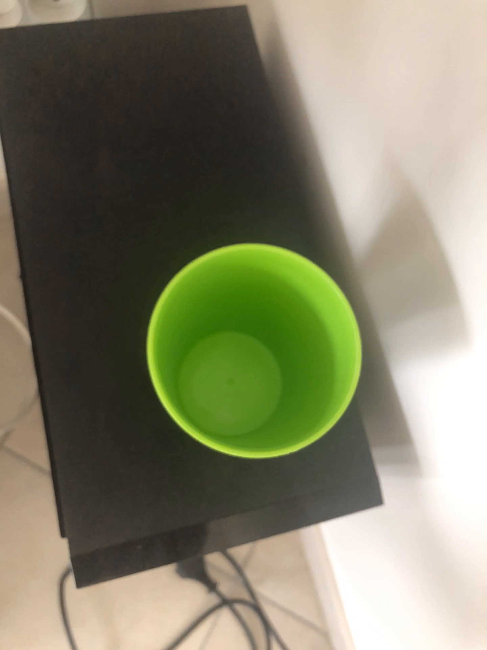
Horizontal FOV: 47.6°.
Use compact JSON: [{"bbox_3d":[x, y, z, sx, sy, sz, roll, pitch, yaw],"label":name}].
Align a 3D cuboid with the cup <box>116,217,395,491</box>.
[{"bbox_3d":[-0.001,0.017,0.240,0.080,0.090,0.080,2,76,-8],"label":"cup"}]
